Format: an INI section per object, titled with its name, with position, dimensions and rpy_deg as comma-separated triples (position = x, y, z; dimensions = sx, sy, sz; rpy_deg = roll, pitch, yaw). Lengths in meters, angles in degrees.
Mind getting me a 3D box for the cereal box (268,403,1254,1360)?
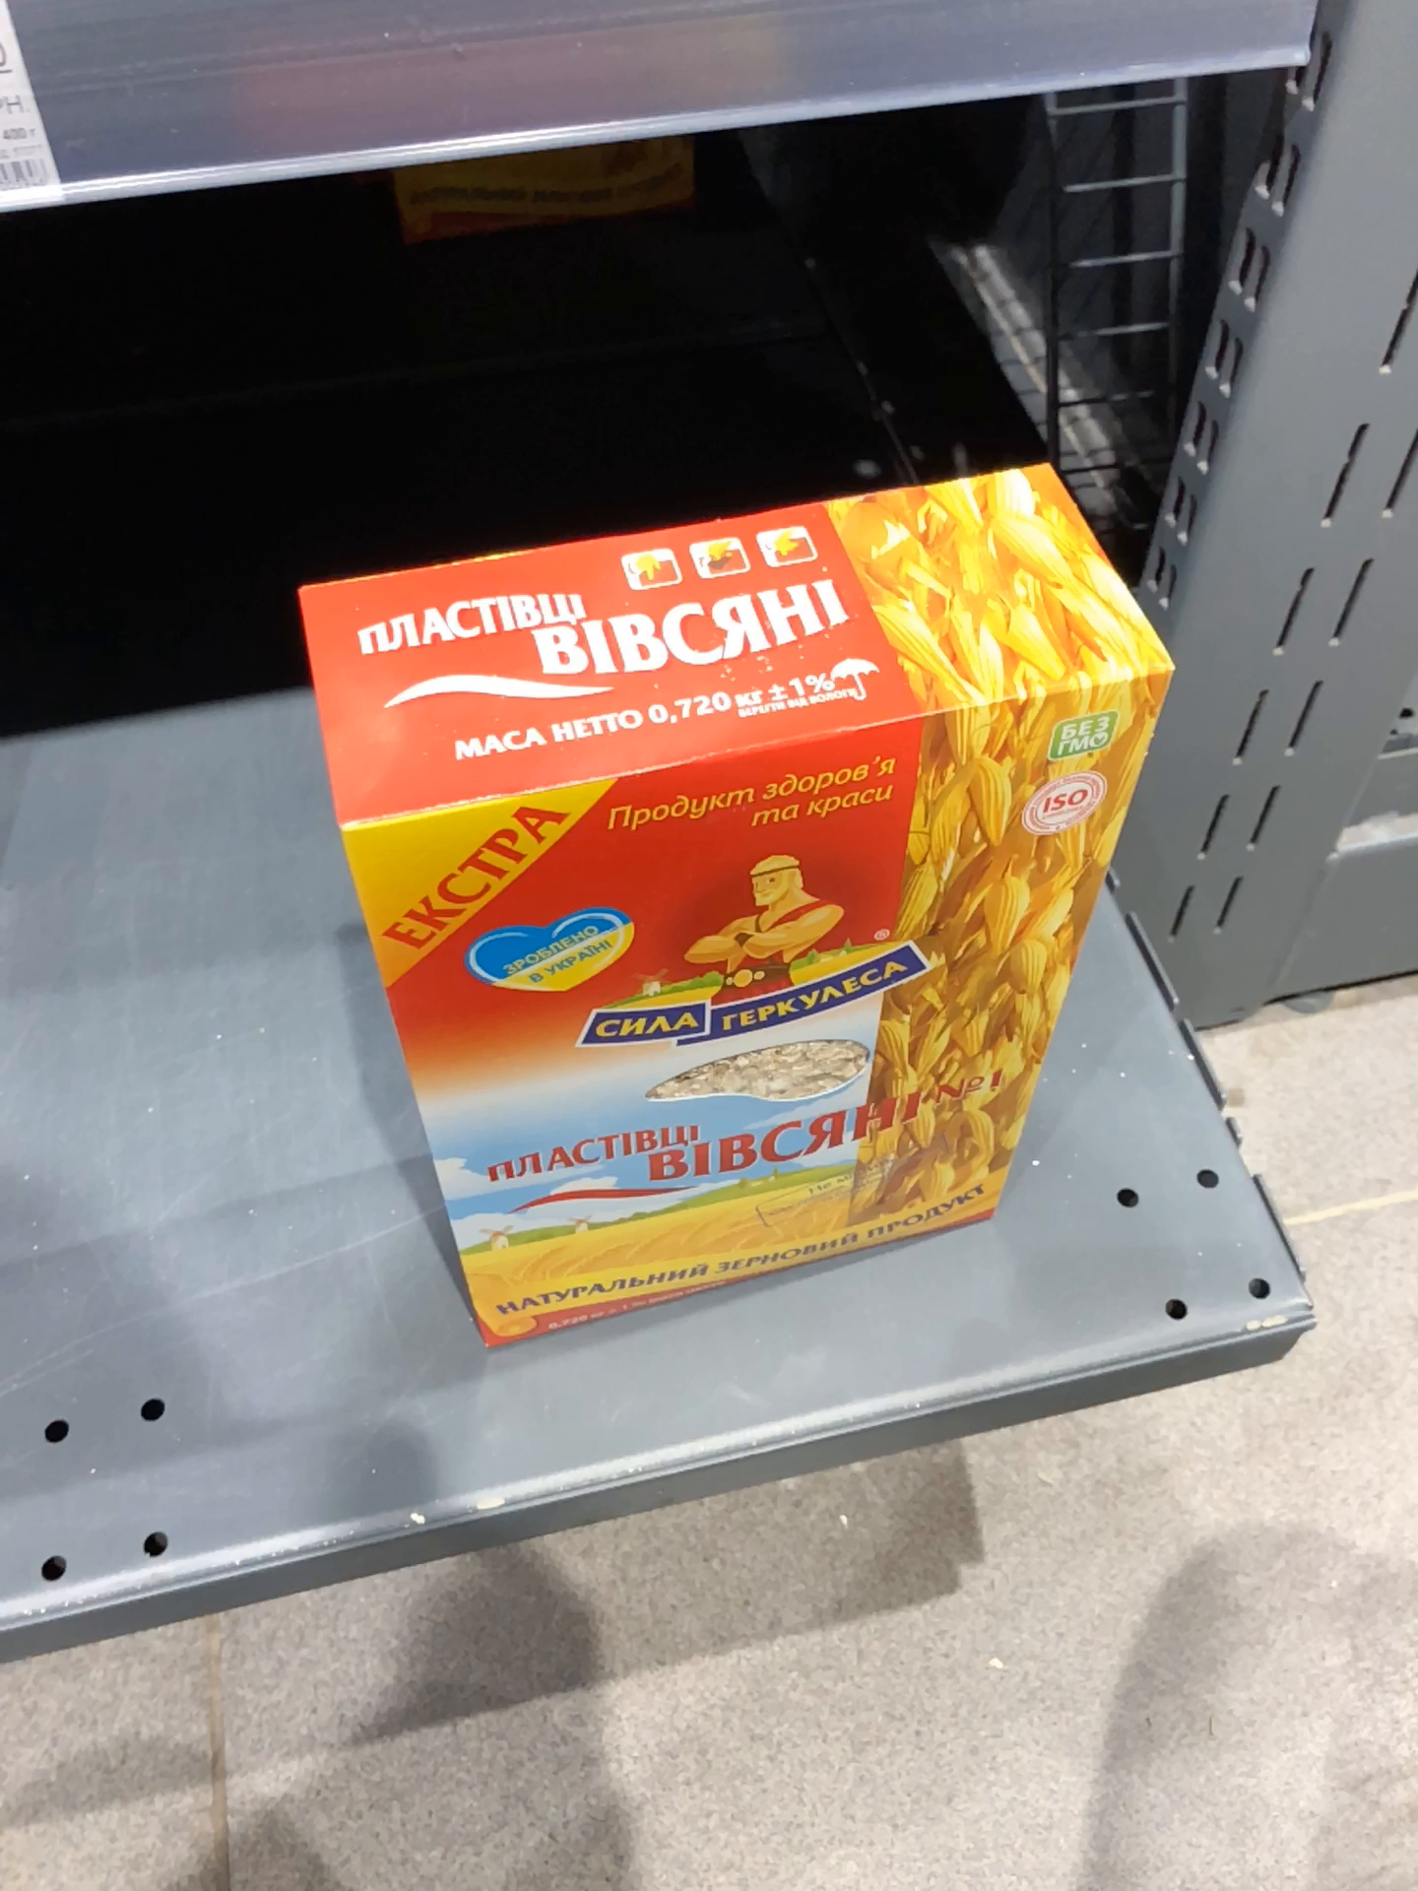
[cereal box]
position = 0.007, 0.000, 0.359
dimensions = 0.160, 0.209, 0.070
rpy_deg = -12, 53, -9
